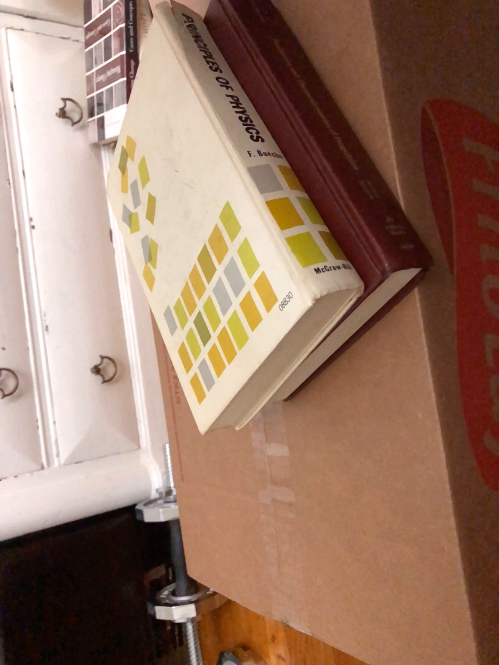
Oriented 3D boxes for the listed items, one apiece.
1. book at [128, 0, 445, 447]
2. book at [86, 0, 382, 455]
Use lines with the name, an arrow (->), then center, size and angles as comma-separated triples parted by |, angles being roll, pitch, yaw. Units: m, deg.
book -> -0.003, -0.073, 0.388 | 0.181, 0.040, 0.250 | -49, 58, 47
book -> -0.038, -0.070, 0.383 | 0.181, 0.040, 0.250 | -52, 56, 45
